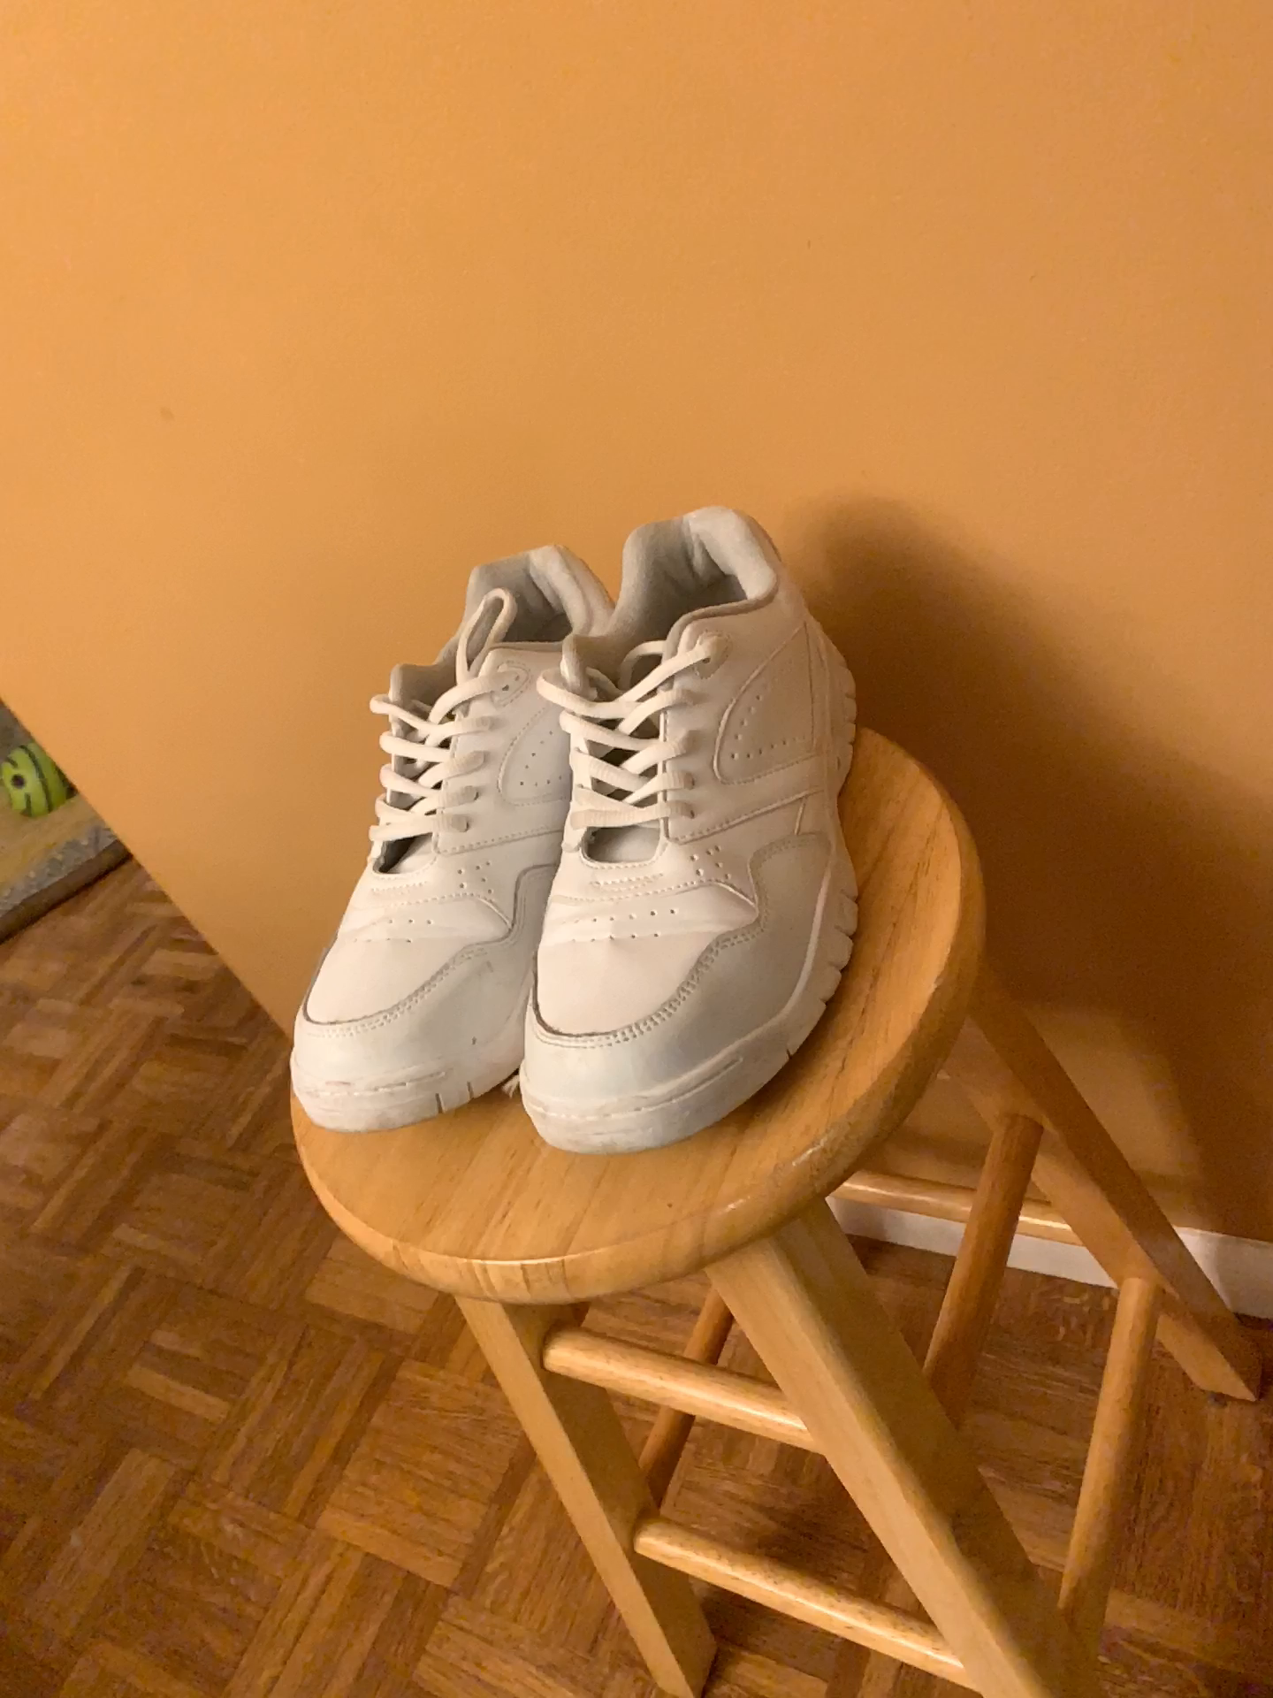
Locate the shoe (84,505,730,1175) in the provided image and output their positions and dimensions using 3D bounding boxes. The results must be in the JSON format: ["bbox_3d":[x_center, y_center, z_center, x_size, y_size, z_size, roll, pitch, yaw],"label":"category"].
[{"bbox_3d":[-0.076,-0.015,0.553,0.130,0.109,0.271,-3,43,30],"label":"shoe"}]

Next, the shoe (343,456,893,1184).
[{"bbox_3d":[0.014,-0.021,0.501,0.120,0.109,0.271,-9,40,25],"label":"shoe"}]
